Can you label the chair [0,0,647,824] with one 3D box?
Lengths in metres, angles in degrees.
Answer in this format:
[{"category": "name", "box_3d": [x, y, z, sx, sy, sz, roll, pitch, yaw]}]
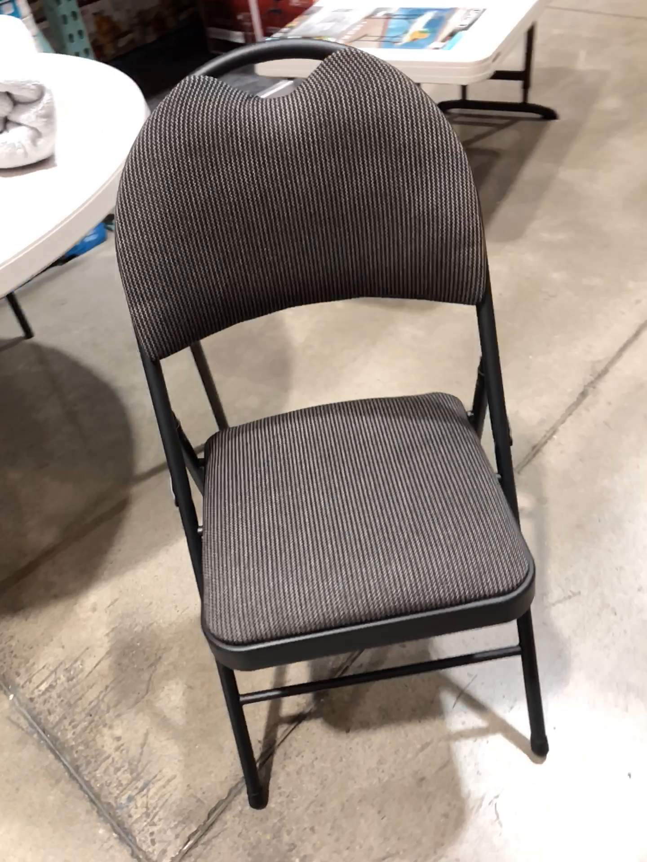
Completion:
[{"category": "chair", "box_3d": [0.046, 0.028, 0.915, 0.510, 0.857, 0.562, -9, 45, 1]}]
